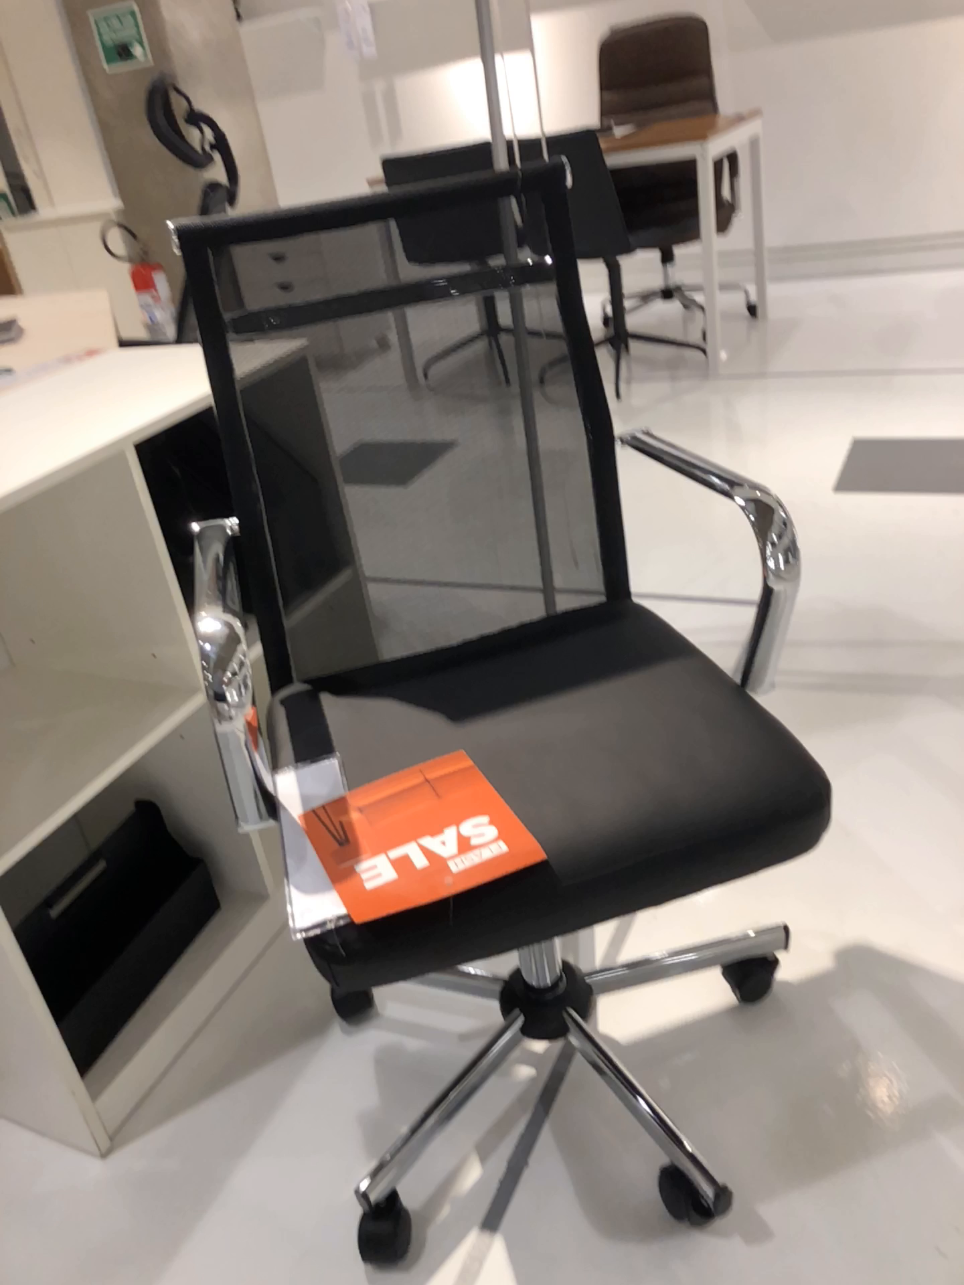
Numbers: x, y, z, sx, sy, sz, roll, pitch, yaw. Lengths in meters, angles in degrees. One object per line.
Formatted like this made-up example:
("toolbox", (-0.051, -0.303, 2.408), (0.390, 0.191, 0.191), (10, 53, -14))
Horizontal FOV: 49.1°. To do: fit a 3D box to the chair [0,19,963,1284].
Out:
("chair", (0.041, 0.033, 1.041), (0.610, 0.993, 0.624), (-16, 28, -11))
